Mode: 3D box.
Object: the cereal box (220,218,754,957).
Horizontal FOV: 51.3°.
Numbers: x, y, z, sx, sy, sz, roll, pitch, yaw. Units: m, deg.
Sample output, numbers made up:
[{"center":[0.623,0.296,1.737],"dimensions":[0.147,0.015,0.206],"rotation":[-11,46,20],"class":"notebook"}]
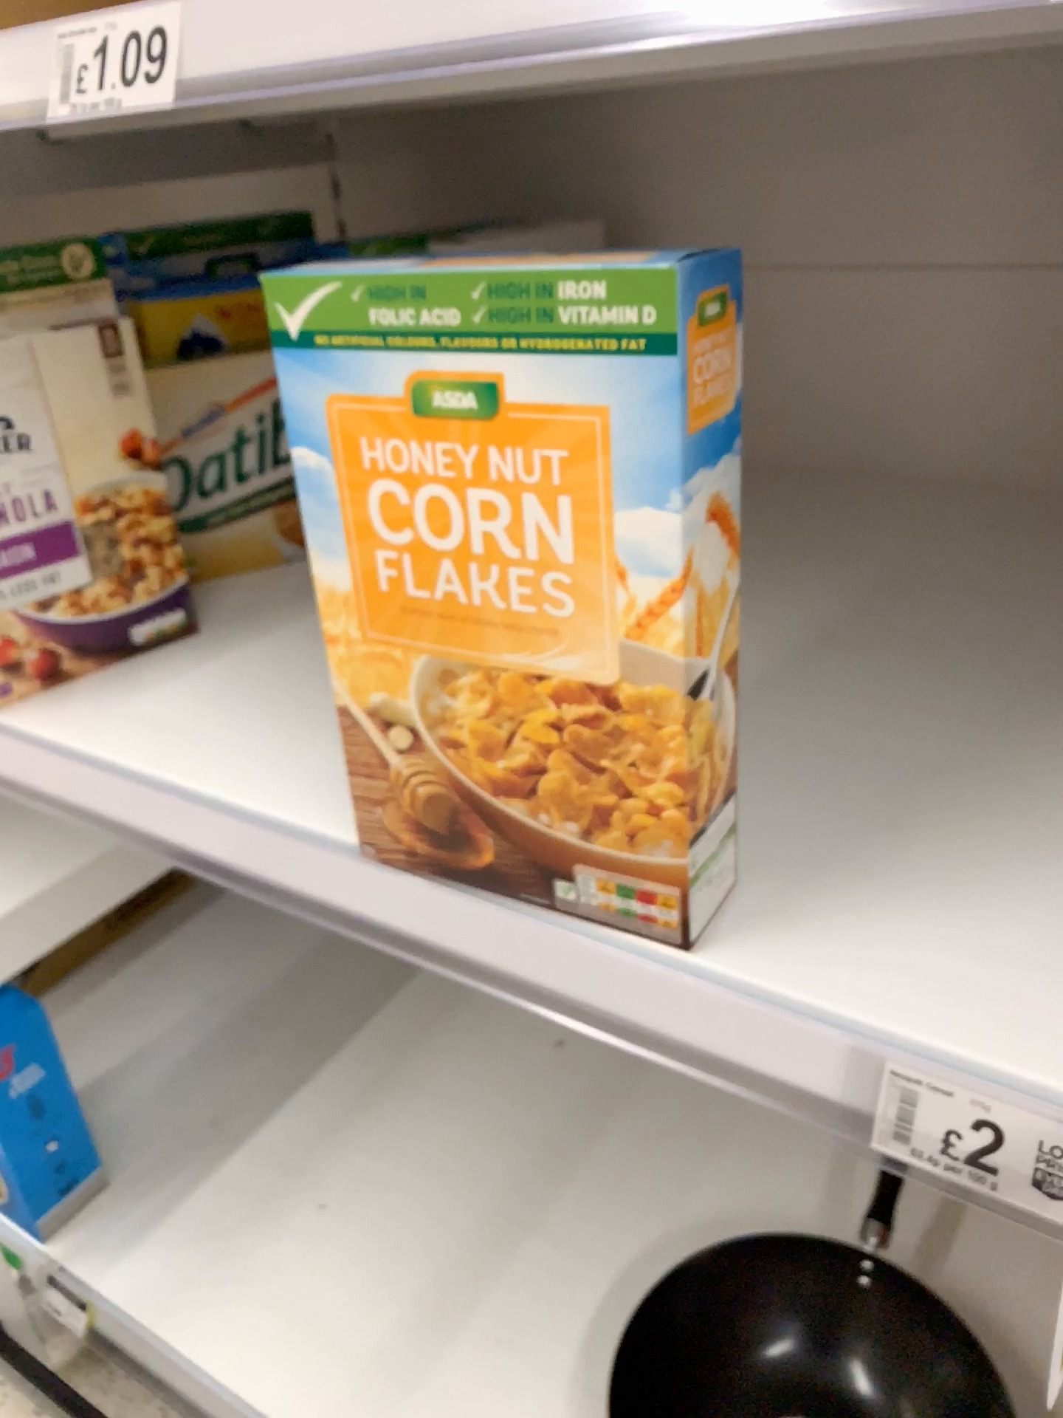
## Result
[{"center":[-0.011,-0.053,0.490],"dimensions":[0.200,0.287,0.070],"rotation":[11,31,29],"class":"cereal box"}]
